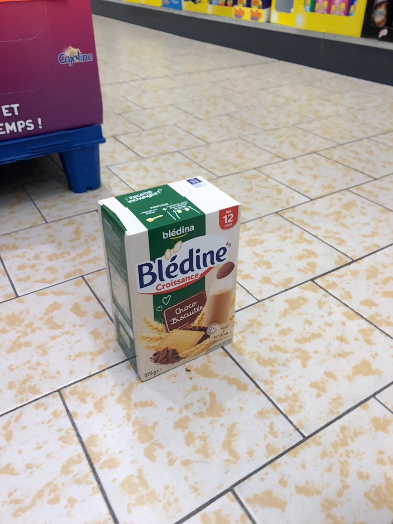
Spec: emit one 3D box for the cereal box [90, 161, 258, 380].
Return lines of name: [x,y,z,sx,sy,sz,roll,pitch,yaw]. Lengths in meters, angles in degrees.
cereal box: [-0.020,0.007,0.443,0.130,0.179,0.080,-18,38,-24]
